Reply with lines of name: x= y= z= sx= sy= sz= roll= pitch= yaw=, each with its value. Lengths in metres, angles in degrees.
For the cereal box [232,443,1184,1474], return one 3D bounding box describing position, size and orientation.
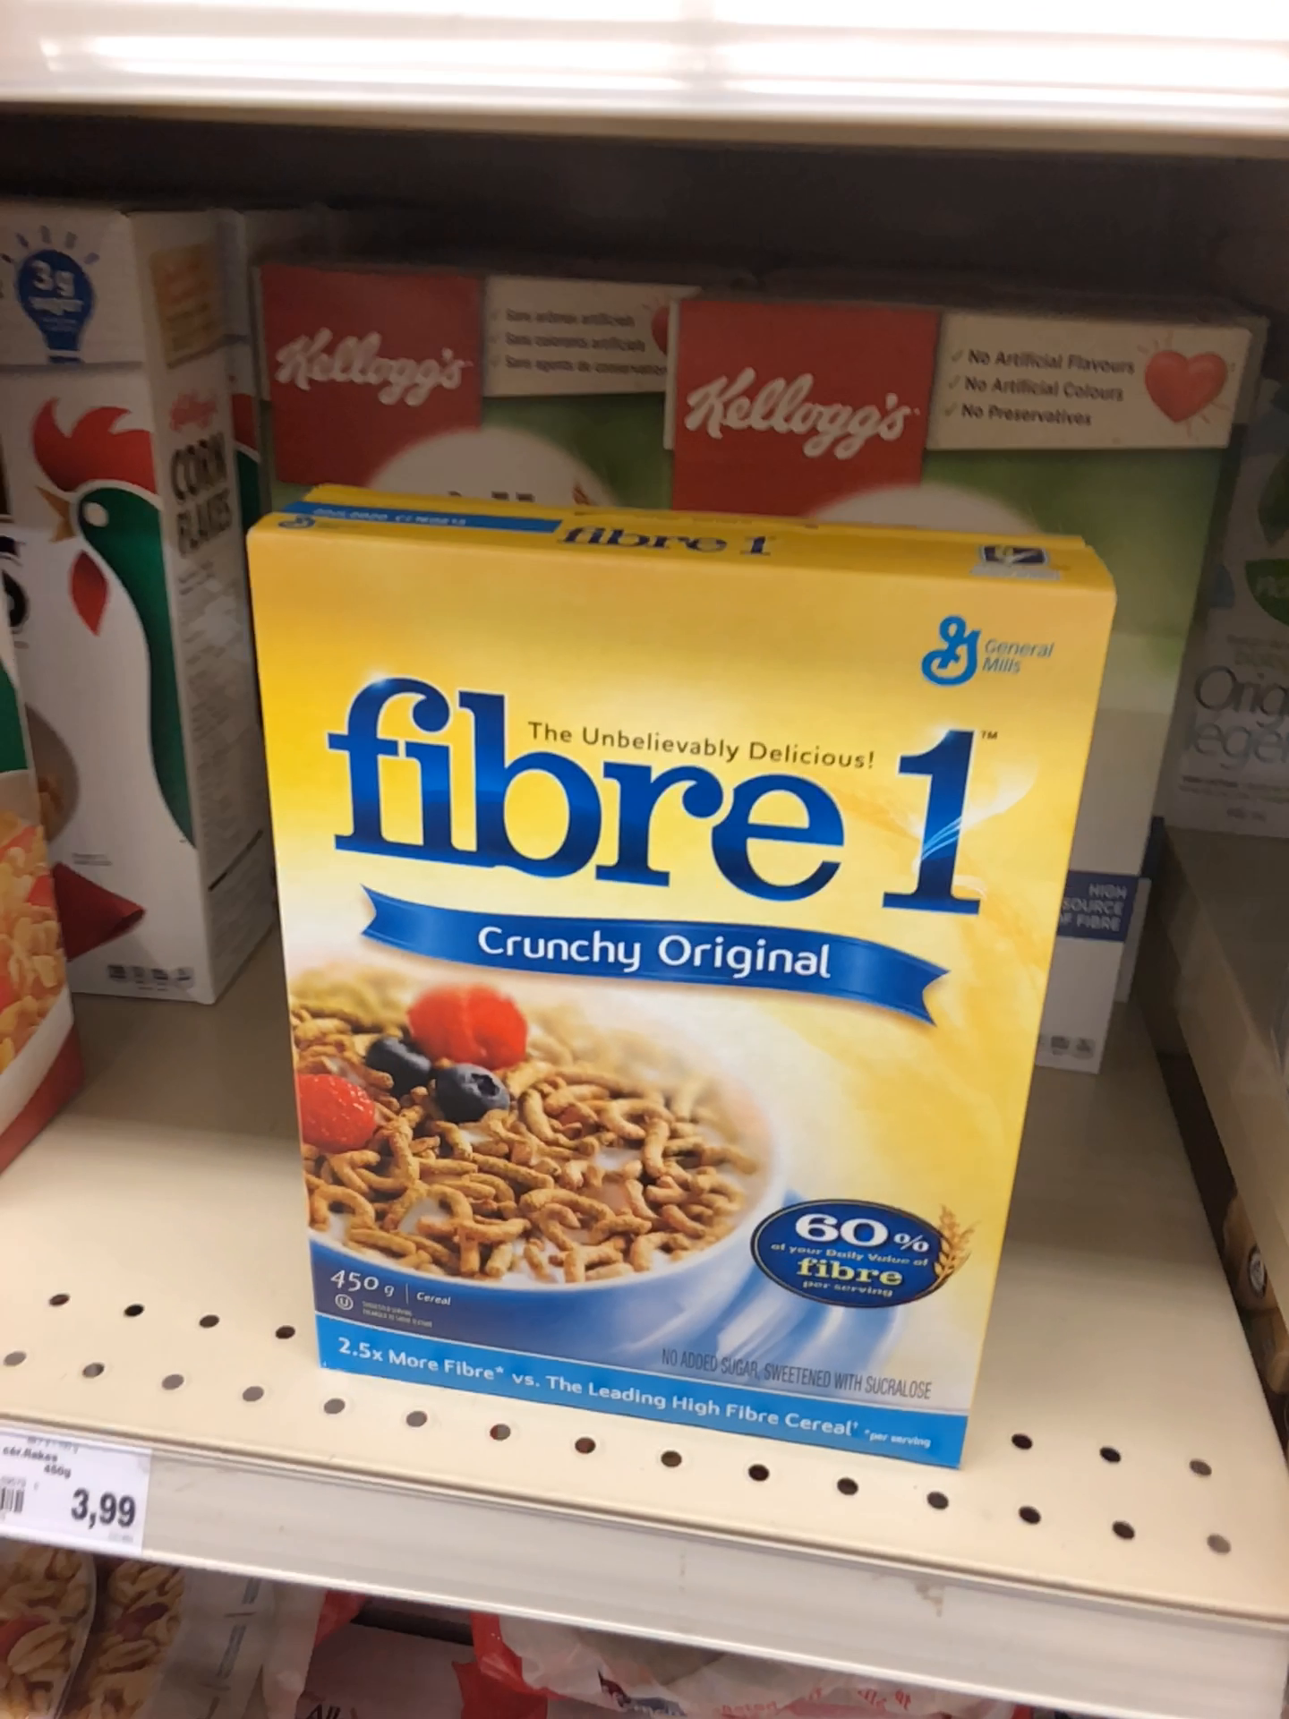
cereal box: x=0.010 y=0.034 z=0.396 sx=0.210 sy=0.268 sz=0.060 roll=6 pitch=26 yaw=8
